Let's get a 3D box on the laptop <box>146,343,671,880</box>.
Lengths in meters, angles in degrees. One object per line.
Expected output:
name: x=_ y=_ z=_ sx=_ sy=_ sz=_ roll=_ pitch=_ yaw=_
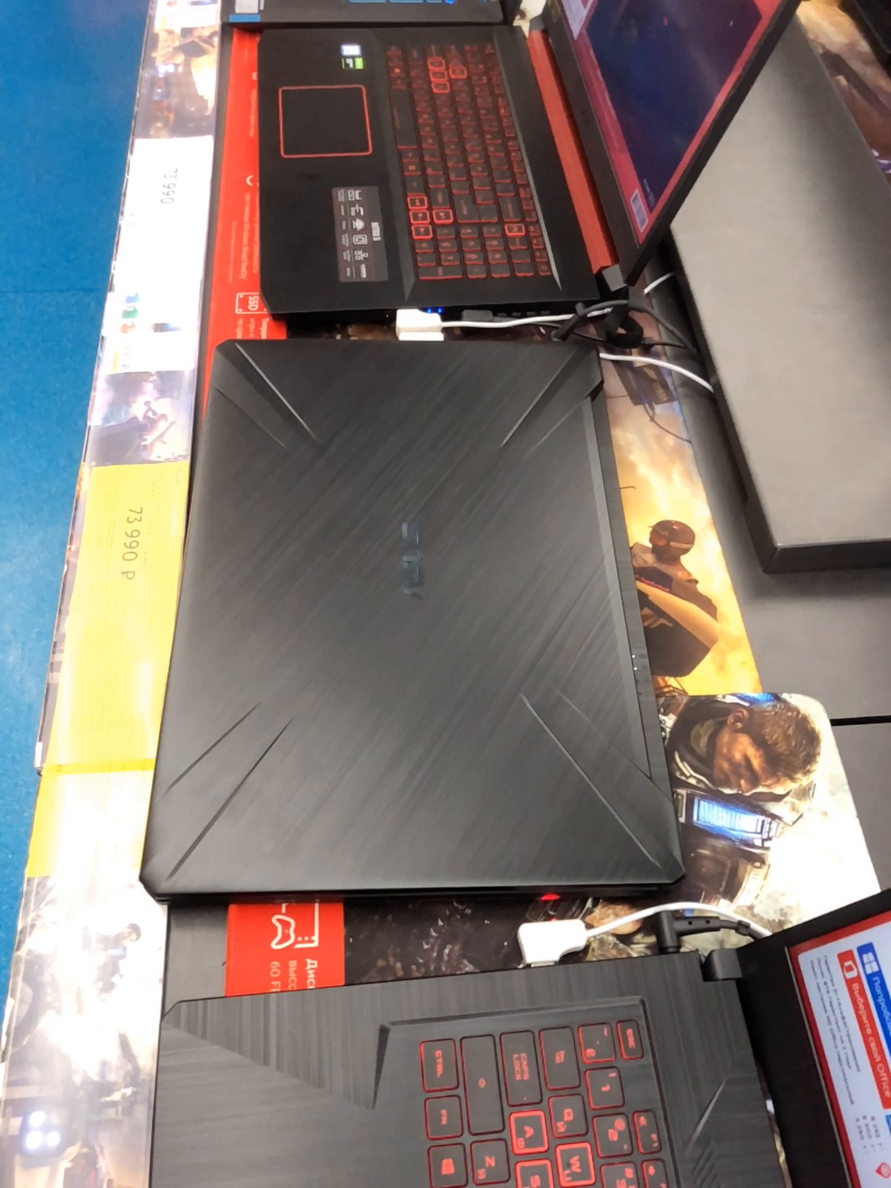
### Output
laptop: x=-0.019 y=-0.020 z=0.594 sx=0.261 sy=0.001 sz=0.387 roll=1 pitch=56 yaw=-3
